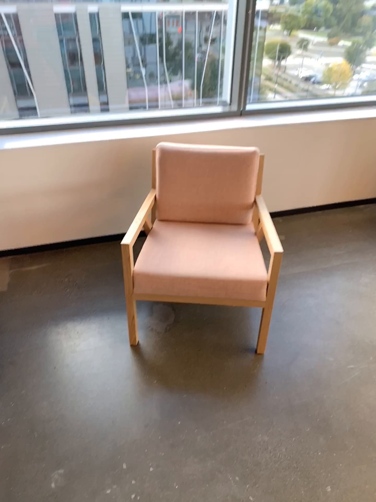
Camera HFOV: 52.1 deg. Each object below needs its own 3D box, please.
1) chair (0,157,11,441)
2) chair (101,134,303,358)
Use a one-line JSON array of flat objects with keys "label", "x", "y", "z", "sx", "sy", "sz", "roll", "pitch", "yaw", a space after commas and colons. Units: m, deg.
[{"label": "chair", "x": -1.308, "y": 0.159, "z": 1.685, "sx": 0.740, "sy": 0.794, "sz": 0.775, "roll": -10, "pitch": 38, "yaw": -13}, {"label": "chair", "x": 0.073, "y": -0.056, "z": 1.951, "sx": 0.740, "sy": 0.794, "sz": 0.775, "roll": 3, "pitch": 35, "yaw": 3}]
